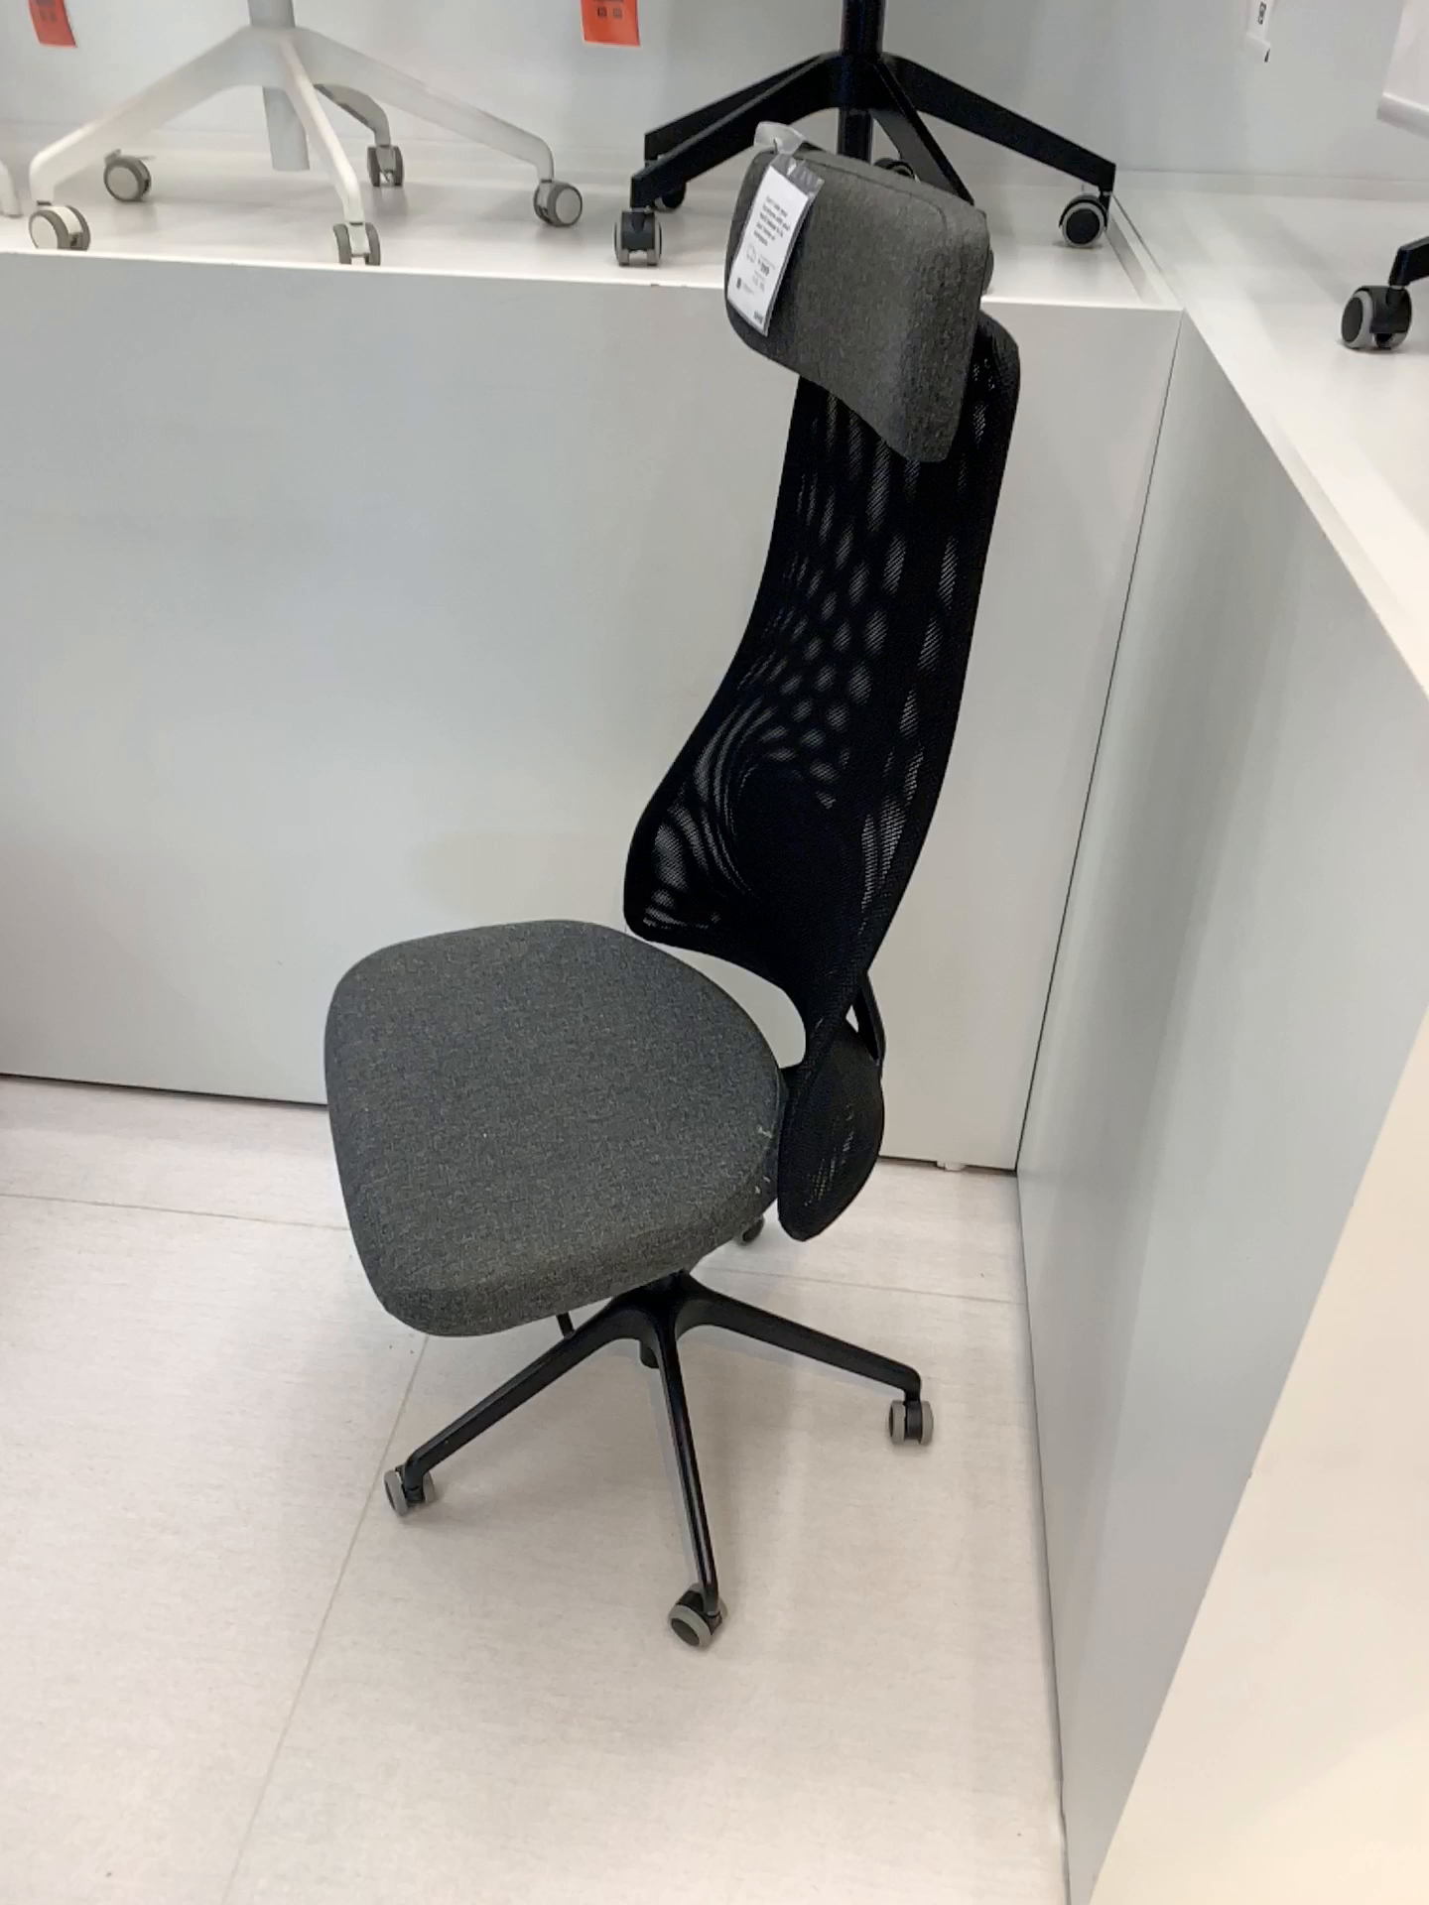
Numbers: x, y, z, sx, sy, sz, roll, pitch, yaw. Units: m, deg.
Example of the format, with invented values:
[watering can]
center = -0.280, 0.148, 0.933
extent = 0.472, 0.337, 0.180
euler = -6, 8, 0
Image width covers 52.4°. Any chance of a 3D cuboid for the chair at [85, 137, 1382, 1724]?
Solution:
[chair]
center = -0.047, 0.001, 1.358
extent = 0.670, 1.265, 0.663
euler = -6, 36, -11
